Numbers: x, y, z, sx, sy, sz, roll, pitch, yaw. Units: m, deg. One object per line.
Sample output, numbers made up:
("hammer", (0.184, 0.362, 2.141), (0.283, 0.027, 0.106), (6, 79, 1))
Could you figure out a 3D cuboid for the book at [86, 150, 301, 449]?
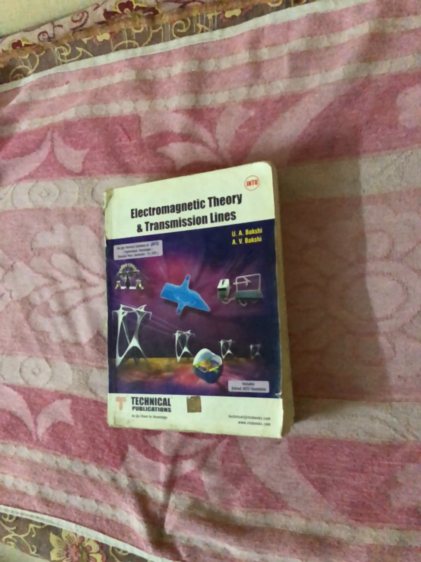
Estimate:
("book", (-0.023, 0.021, 0.458), (0.200, 0.060, 0.250), (-4, 83, 25))
